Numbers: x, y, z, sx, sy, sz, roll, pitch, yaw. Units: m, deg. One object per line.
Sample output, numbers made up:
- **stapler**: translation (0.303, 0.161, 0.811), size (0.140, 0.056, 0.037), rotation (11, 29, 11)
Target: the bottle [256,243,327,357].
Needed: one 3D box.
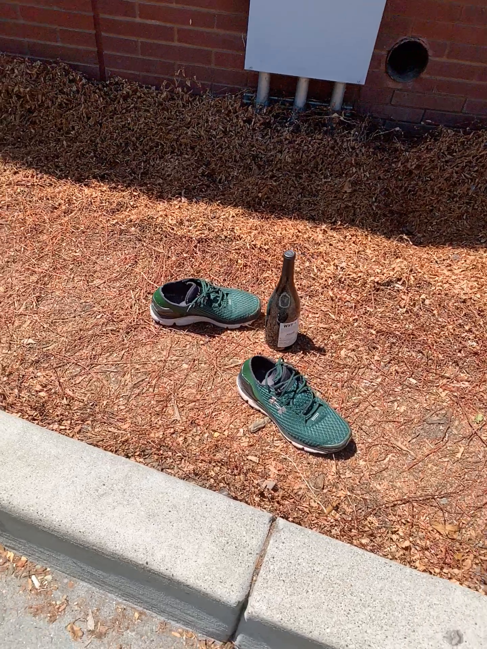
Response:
- **bottle**: translation (0.107, -0.053, 1.185), size (0.090, 0.259, 0.090), rotation (4, 48, -4)
